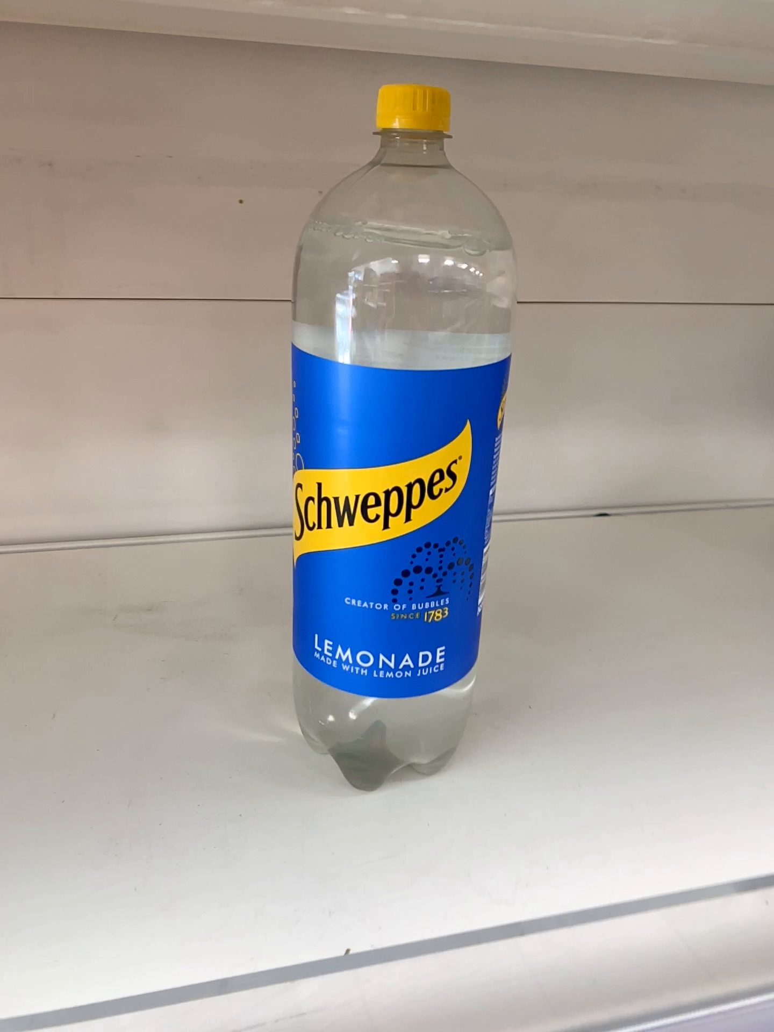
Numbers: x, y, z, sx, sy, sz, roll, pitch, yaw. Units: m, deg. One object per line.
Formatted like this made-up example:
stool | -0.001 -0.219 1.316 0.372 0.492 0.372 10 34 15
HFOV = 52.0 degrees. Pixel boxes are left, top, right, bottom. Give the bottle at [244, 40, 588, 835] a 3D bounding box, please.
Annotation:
bottle | 0.011 -0.027 0.375 0.110 0.327 0.111 3 24 -1
